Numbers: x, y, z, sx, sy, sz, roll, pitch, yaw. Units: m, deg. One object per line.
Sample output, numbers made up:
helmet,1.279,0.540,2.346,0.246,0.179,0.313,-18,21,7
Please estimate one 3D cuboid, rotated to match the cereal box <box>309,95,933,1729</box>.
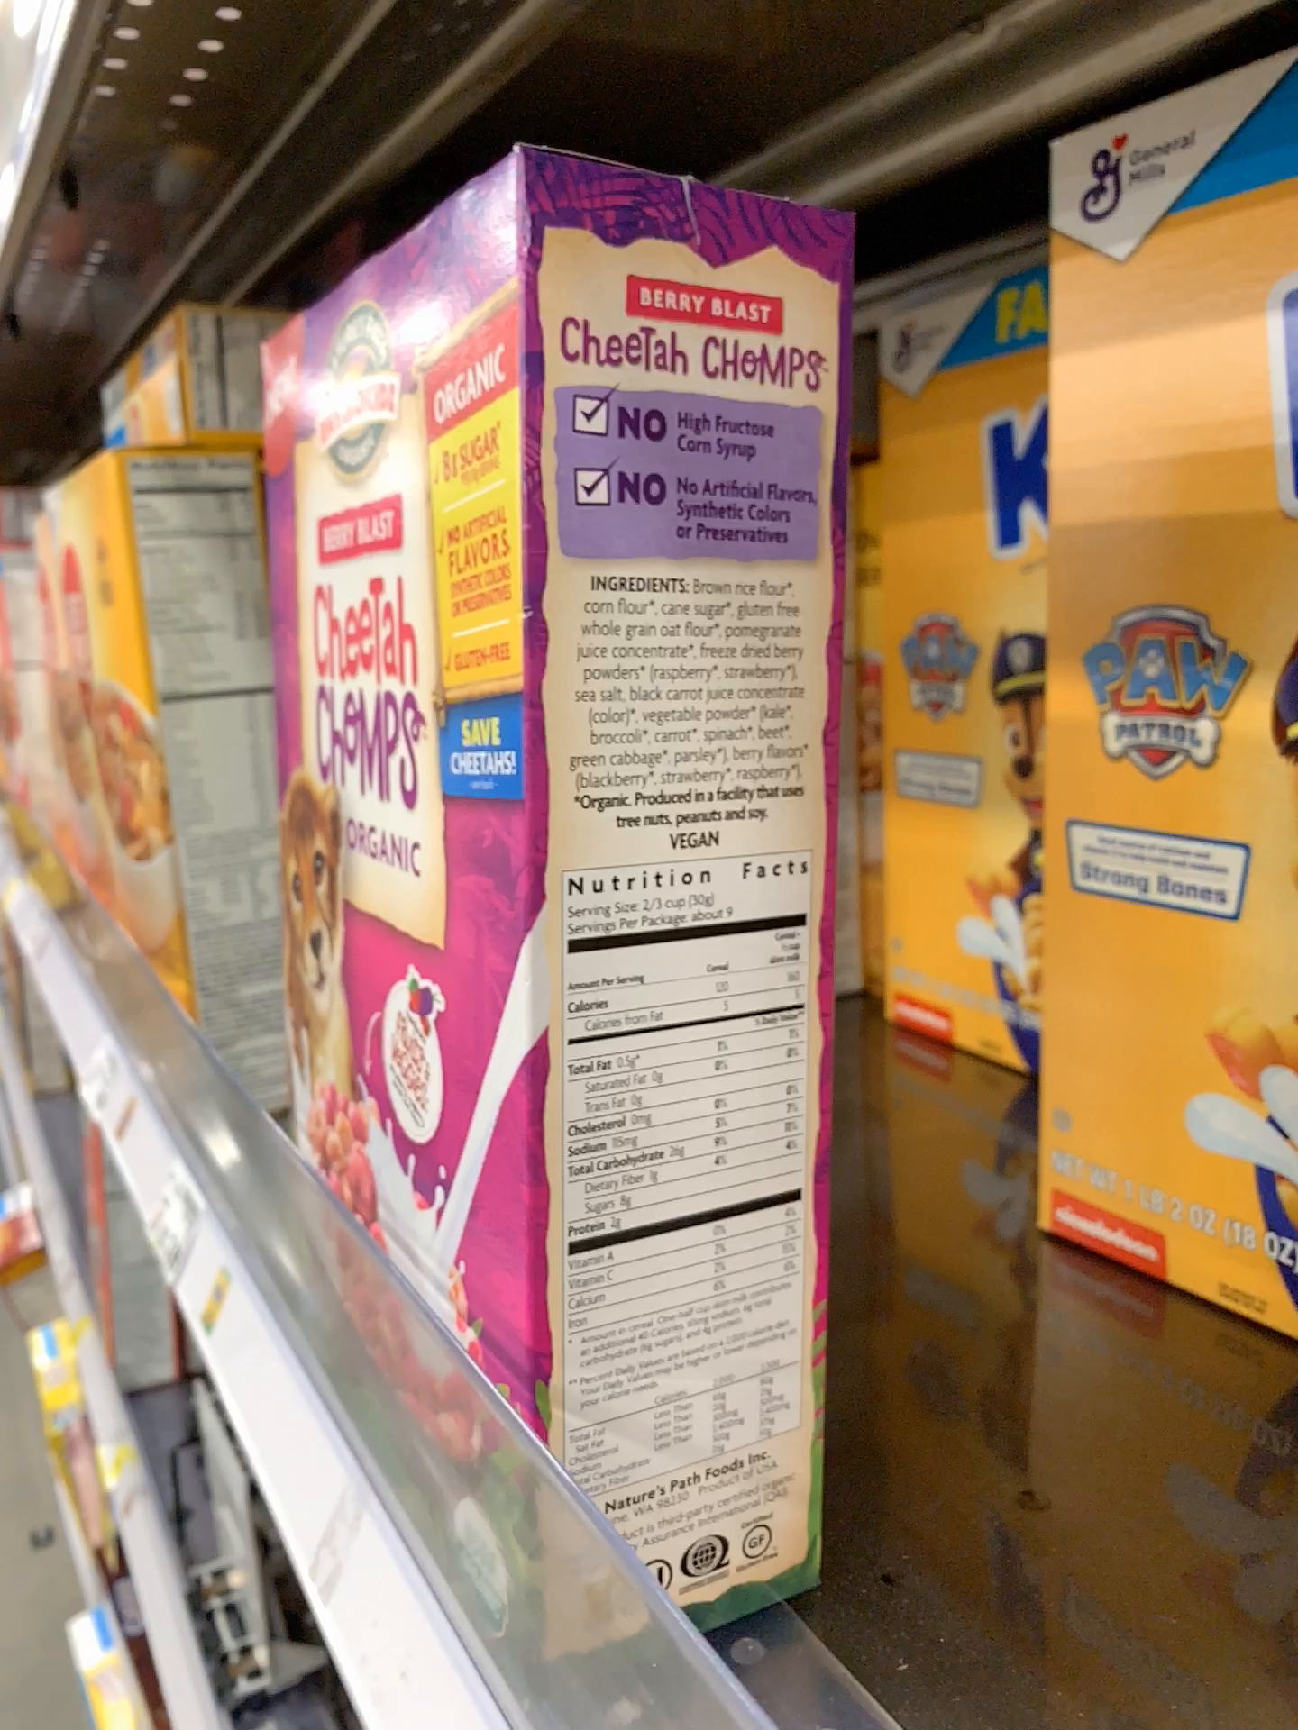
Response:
cereal box,-0.020,0.011,0.296,0.060,0.269,0.160,-4,10,-28
